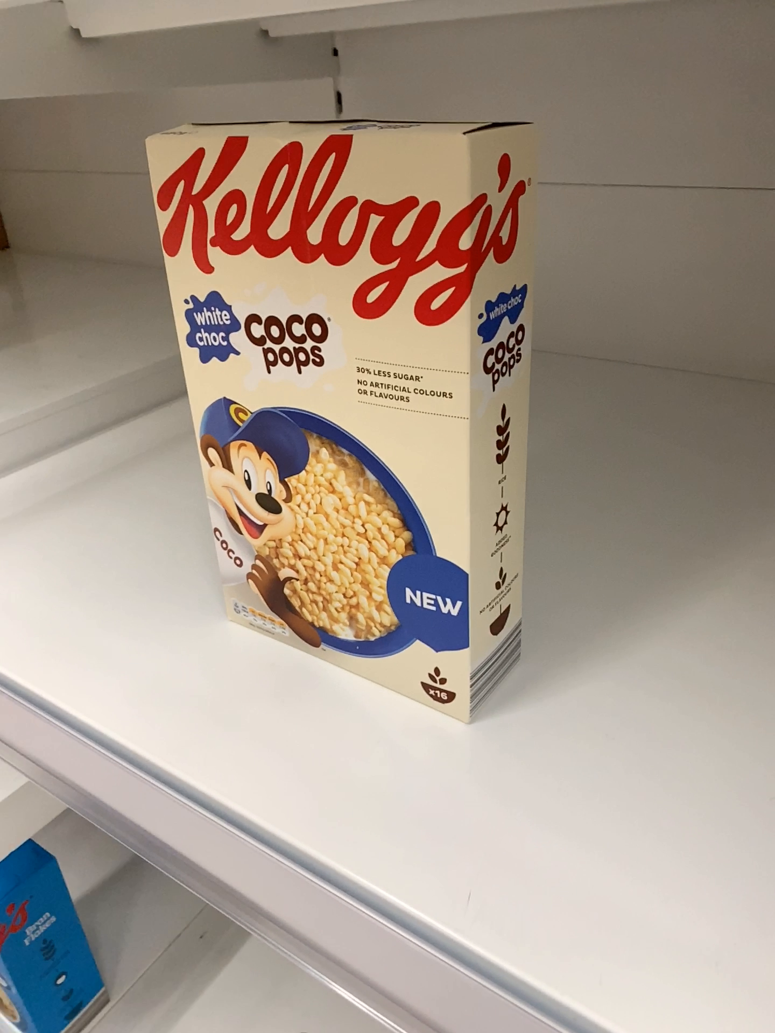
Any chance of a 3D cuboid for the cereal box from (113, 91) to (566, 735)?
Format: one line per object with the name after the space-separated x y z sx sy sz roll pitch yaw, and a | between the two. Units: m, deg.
-0.025 -0.057 0.432 0.211 0.297 0.070 16 32 32 | cereal box
